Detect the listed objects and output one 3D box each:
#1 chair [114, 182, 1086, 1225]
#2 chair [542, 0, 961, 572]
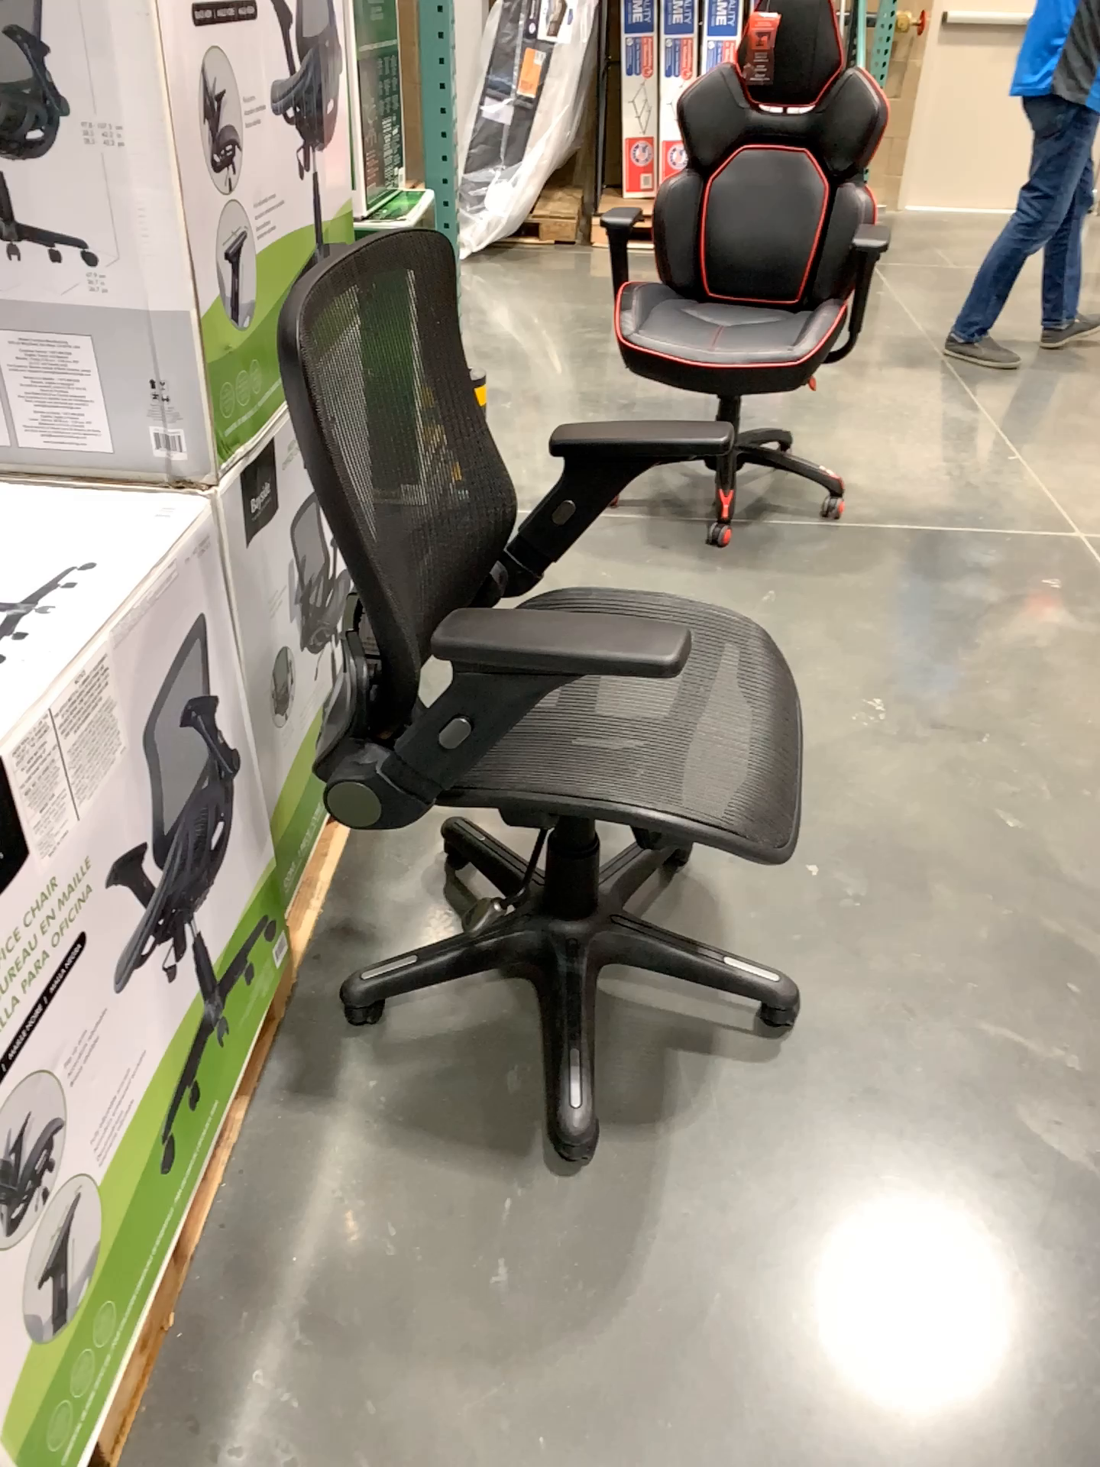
[{"bbox_3d":[0.074,-0.064,1.386,0.735,0.987,0.678,8,35,10],"label":"chair"},{"bbox_3d":[0.498,-1.186,2.810,0.756,1.146,0.970,11,36,14],"label":"chair"}]
